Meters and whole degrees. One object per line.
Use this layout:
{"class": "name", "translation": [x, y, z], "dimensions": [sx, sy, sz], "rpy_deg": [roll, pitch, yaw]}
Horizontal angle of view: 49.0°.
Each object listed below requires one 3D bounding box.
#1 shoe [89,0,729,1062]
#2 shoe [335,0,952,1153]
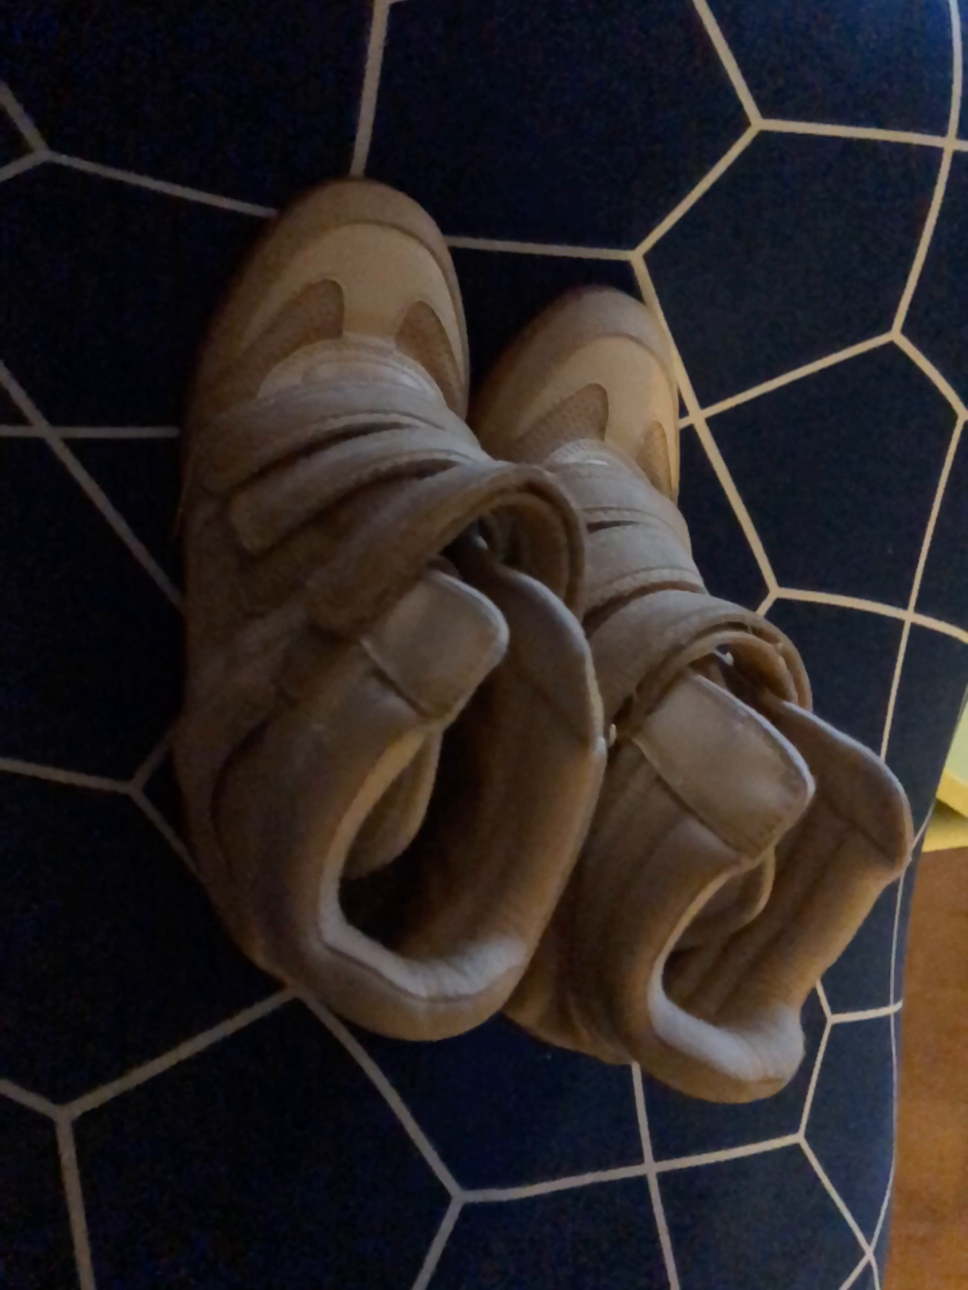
{"class": "shoe", "translation": [-0.024, -0.038, 0.293], "dimensions": [0.100, 0.140, 0.260], "rpy_deg": [11, 77, -29]}
{"class": "shoe", "translation": [0.049, -0.014, 0.324], "dimensions": [0.100, 0.130, 0.280], "rpy_deg": [15, 75, -28]}
